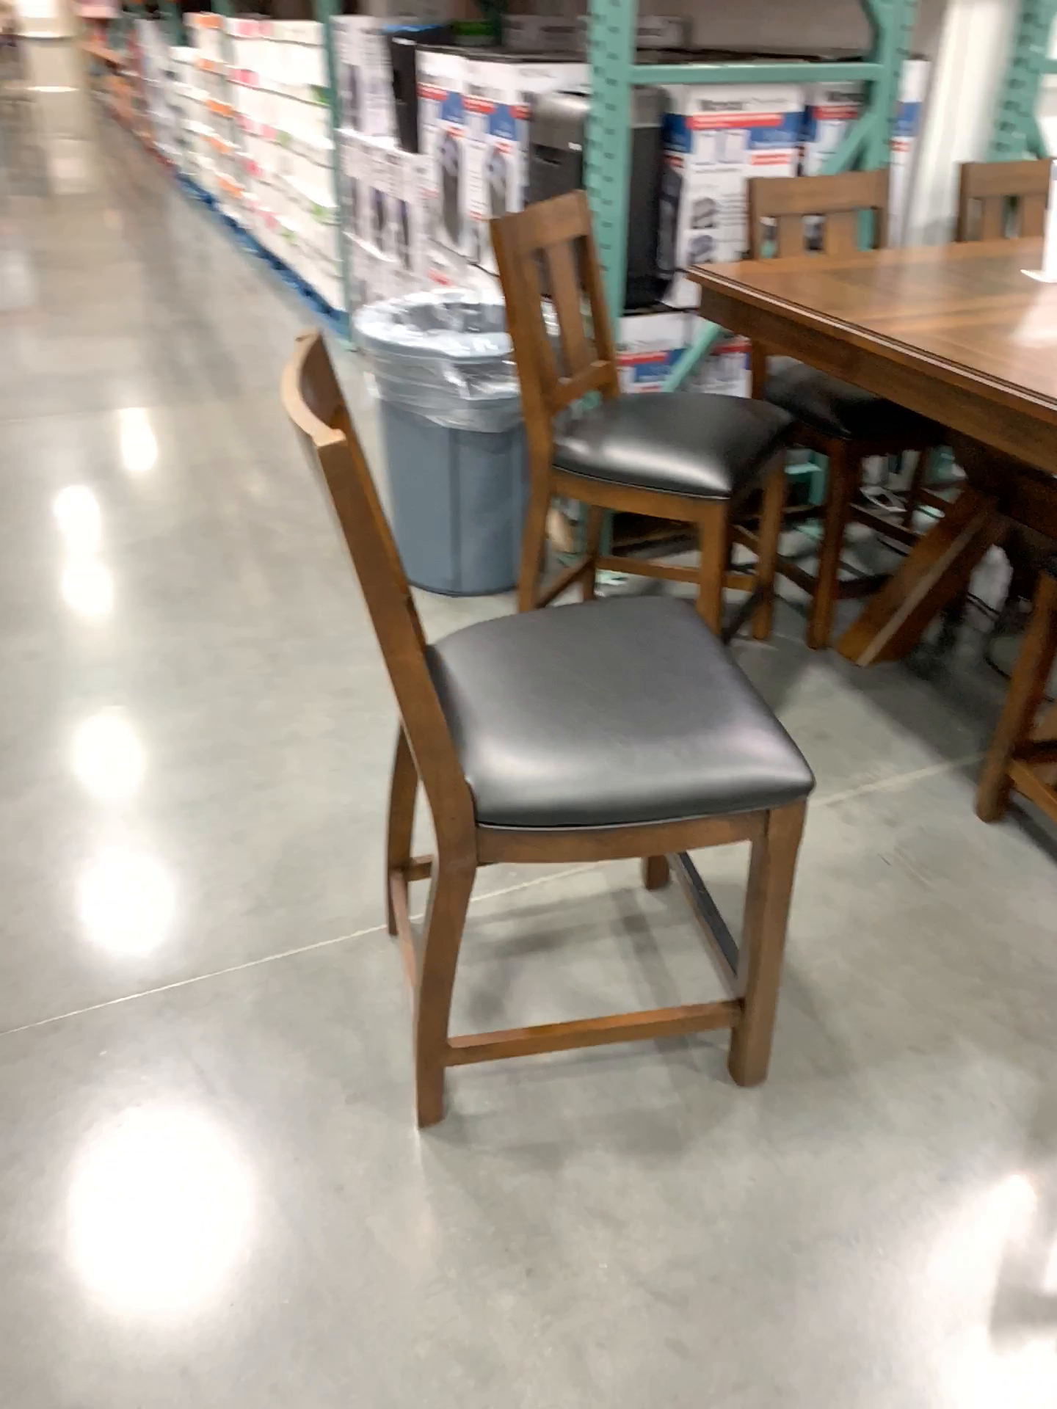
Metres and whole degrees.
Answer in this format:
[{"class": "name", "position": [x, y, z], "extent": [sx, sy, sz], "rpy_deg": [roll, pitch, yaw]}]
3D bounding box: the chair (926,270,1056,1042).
[{"class": "chair", "position": [1.161, -0.094, 1.649], "extent": [0.654, 0.952, 0.601], "rpy_deg": [-6, 33, -11]}]

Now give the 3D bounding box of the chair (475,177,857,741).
[{"class": "chair", "position": [0.281, -0.559, 2.392], "extent": [0.588, 1.021, 0.546], "rpy_deg": [17, 36, 24]}]

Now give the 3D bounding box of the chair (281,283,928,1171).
[{"class": "chair", "position": [0.032, 0.029, 1.465], "extent": [0.587, 1.021, 0.527], "rpy_deg": [-7, 33, -12]}]
